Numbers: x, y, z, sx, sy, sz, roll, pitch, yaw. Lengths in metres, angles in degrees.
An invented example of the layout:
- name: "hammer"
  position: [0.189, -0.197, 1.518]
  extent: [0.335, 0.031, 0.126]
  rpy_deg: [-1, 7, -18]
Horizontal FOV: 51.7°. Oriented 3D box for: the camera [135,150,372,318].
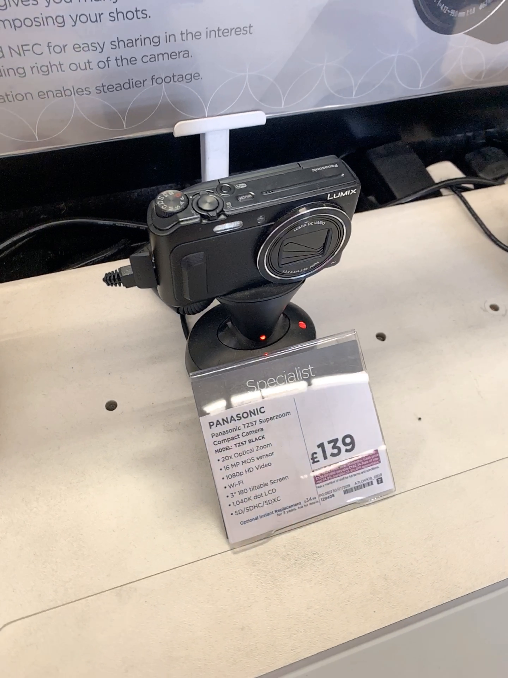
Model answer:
- name: "camera"
  position: [-0.001, -0.055, 0.276]
  extent: [0.111, 0.060, 0.030]
  rpy_deg: [-17, 59, -15]
